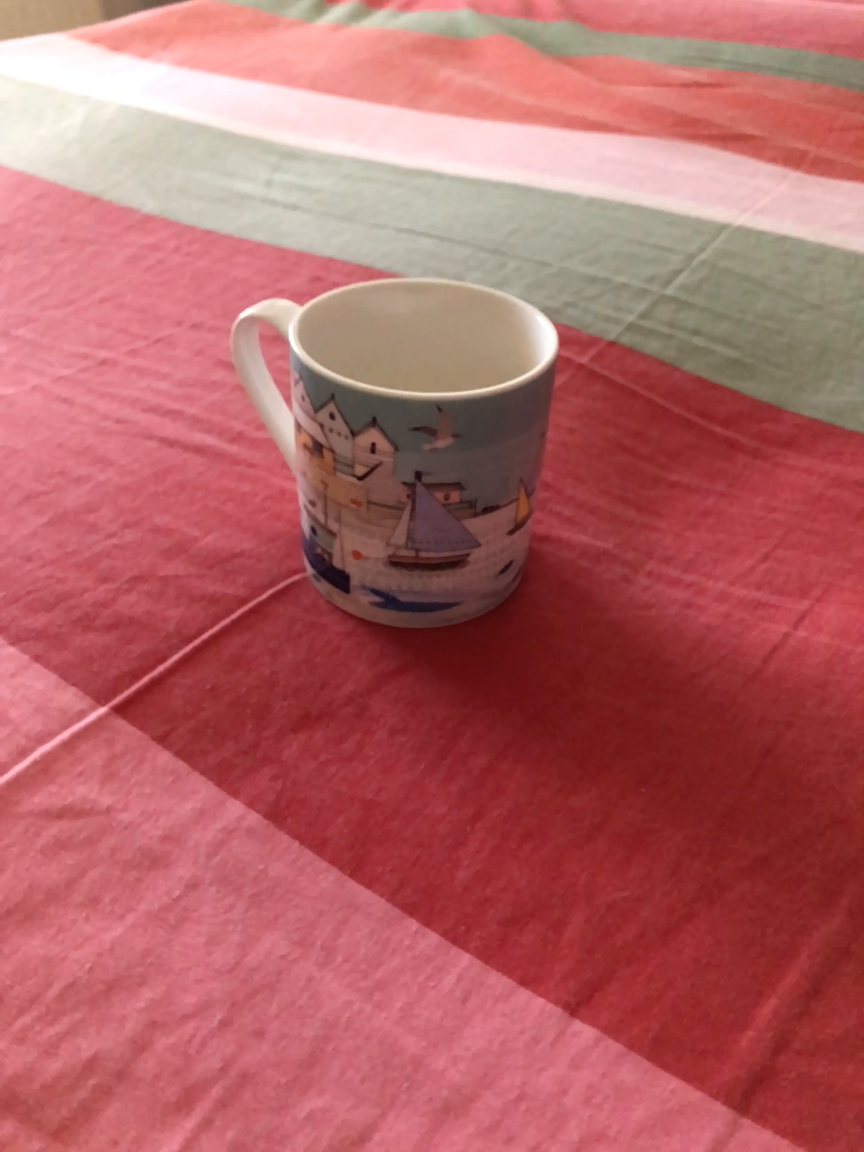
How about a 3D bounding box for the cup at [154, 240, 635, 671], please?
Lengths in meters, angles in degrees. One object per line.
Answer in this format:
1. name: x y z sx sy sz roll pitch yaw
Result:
1. cup: -0.013 -0.049 0.330 0.120 0.080 0.094 27 44 29
